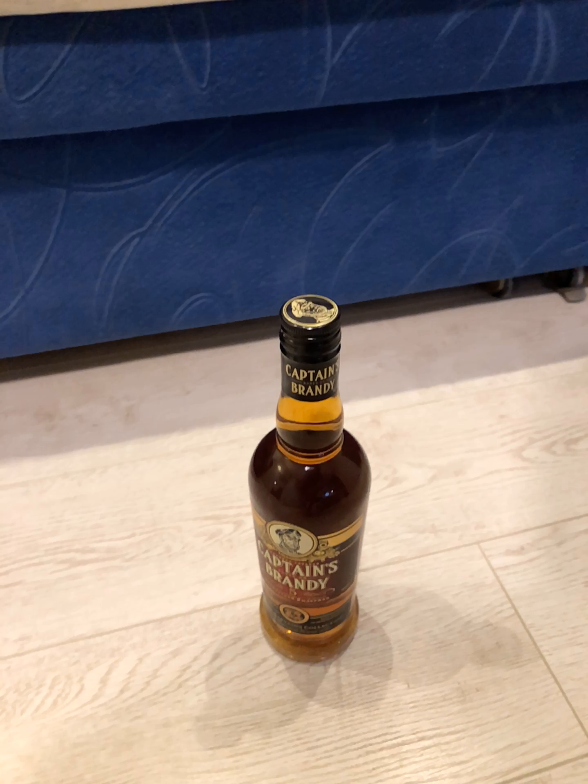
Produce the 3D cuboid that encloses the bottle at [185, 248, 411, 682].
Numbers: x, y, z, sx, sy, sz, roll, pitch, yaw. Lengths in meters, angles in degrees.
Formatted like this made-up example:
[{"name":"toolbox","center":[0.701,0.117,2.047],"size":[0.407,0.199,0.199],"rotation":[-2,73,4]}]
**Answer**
[{"name":"bottle","center":[0.007,0.057,0.375],"size":[0.080,0.257,0.081],"rotation":[-1,41,1]}]
